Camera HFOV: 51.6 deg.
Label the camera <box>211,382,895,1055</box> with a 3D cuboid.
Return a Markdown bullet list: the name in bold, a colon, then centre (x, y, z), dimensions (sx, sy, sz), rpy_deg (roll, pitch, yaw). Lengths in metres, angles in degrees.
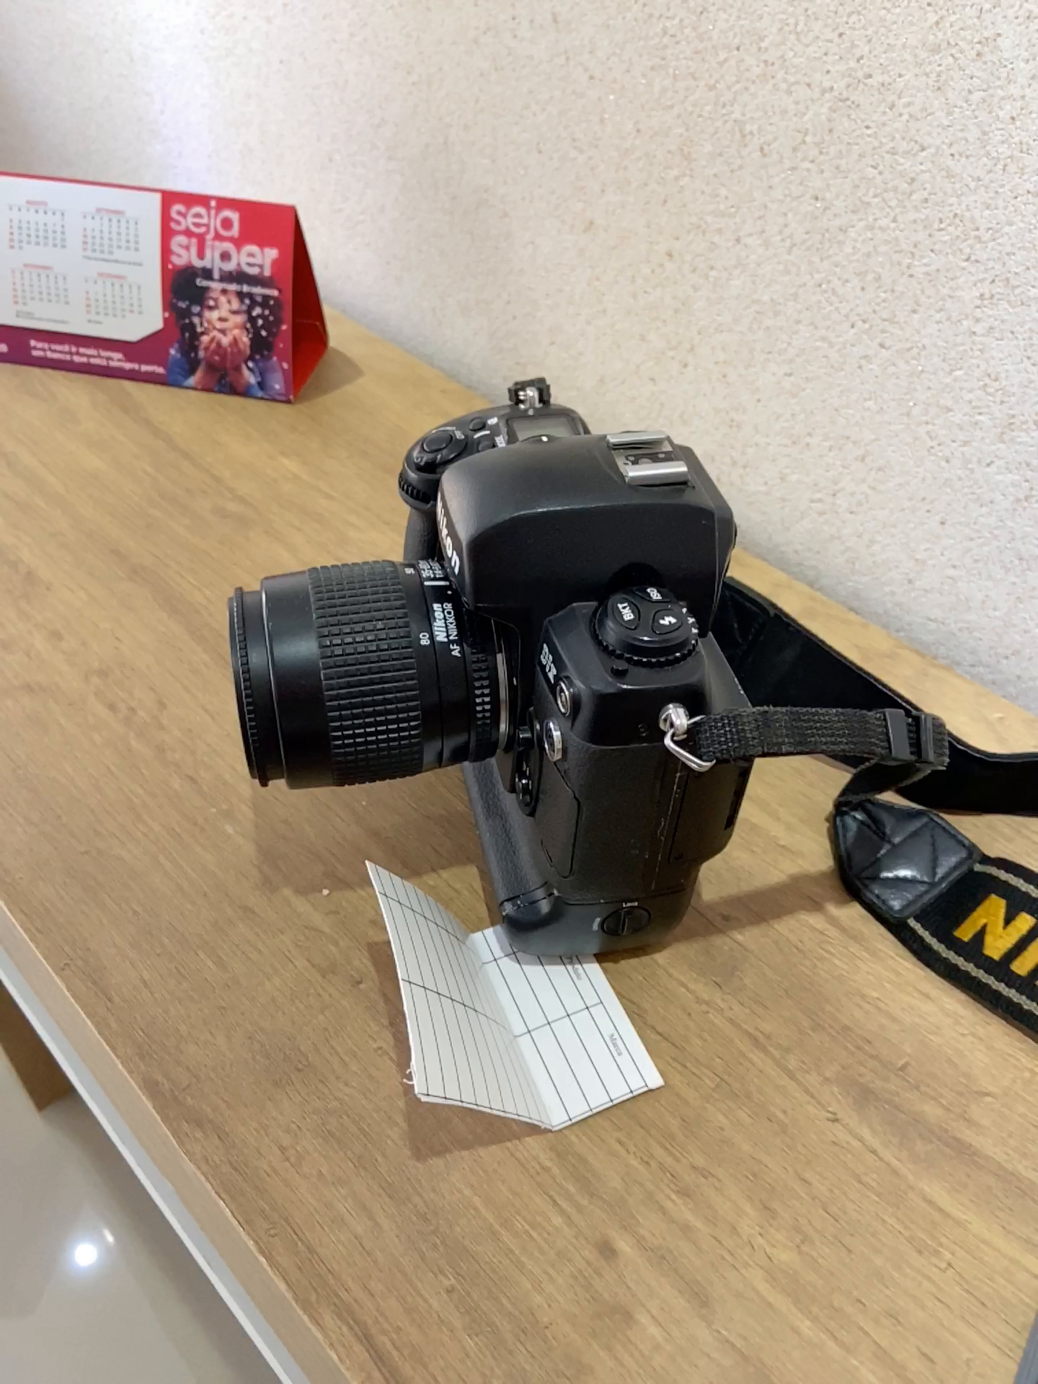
- **camera**: centre (-0.003, 0.000, 0.354), dimensions (0.160, 0.129, 0.151), rpy_deg (-10, 44, -13)
